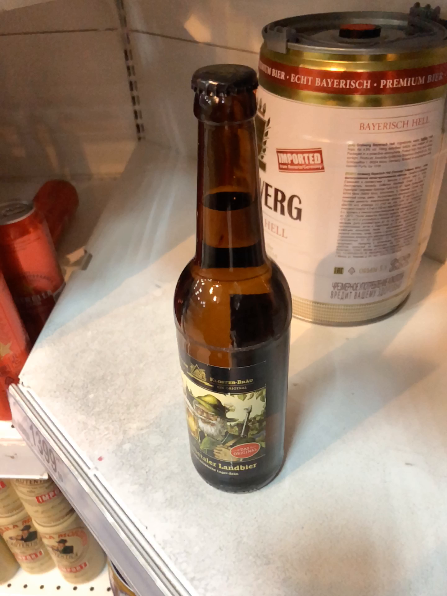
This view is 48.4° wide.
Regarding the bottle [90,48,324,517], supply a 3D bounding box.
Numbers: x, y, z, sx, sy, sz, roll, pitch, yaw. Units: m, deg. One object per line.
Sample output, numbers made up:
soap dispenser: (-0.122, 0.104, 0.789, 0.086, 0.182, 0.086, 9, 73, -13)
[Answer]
bottle: (0.000, 0.010, 0.280, 0.064, 0.257, 0.071, -32, 46, -32)
